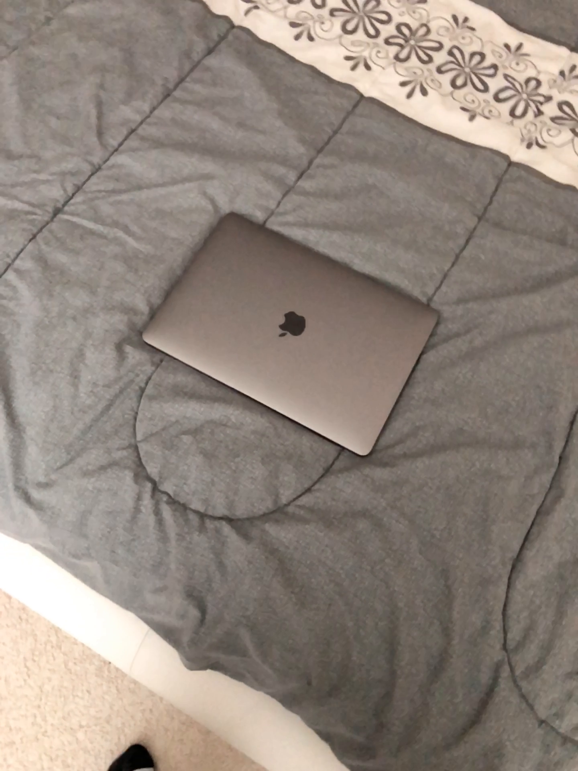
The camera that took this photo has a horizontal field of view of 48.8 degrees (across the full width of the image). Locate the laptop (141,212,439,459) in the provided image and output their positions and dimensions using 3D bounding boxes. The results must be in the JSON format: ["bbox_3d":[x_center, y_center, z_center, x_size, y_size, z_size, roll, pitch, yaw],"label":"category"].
[{"bbox_3d":[0.004,-0.070,0.771,0.295,0.008,0.207,27,71,8],"label":"laptop"}]
